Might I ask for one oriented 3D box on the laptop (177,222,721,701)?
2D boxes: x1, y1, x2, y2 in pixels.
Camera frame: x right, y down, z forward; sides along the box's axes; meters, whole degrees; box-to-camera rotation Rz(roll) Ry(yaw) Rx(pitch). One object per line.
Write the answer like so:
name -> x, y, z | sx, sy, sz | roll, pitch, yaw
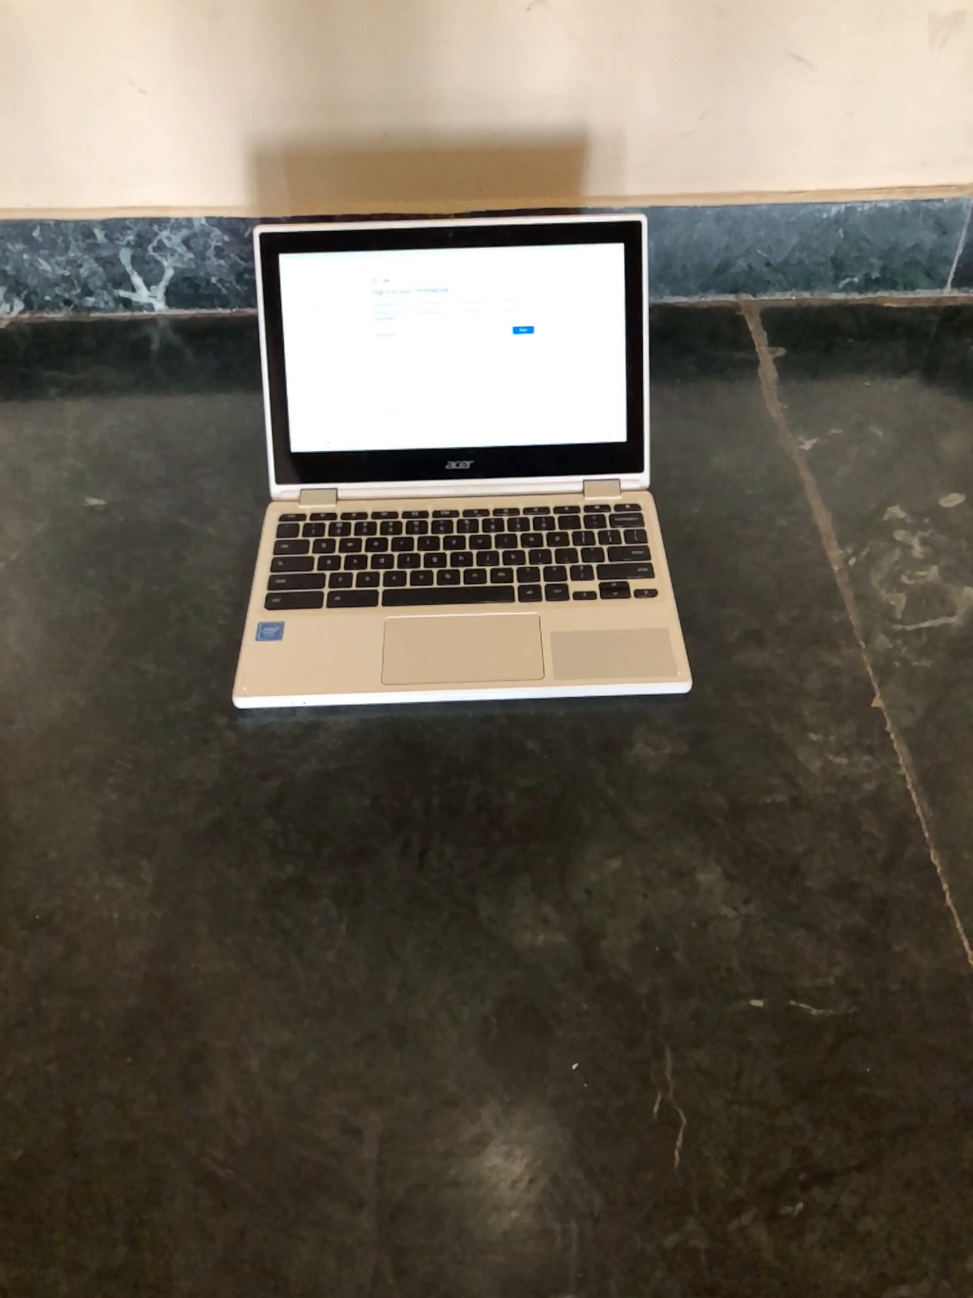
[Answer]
laptop -> -0.022, -0.139, 0.719 | 0.280, 0.156, 0.316 | -2, 46, -1
